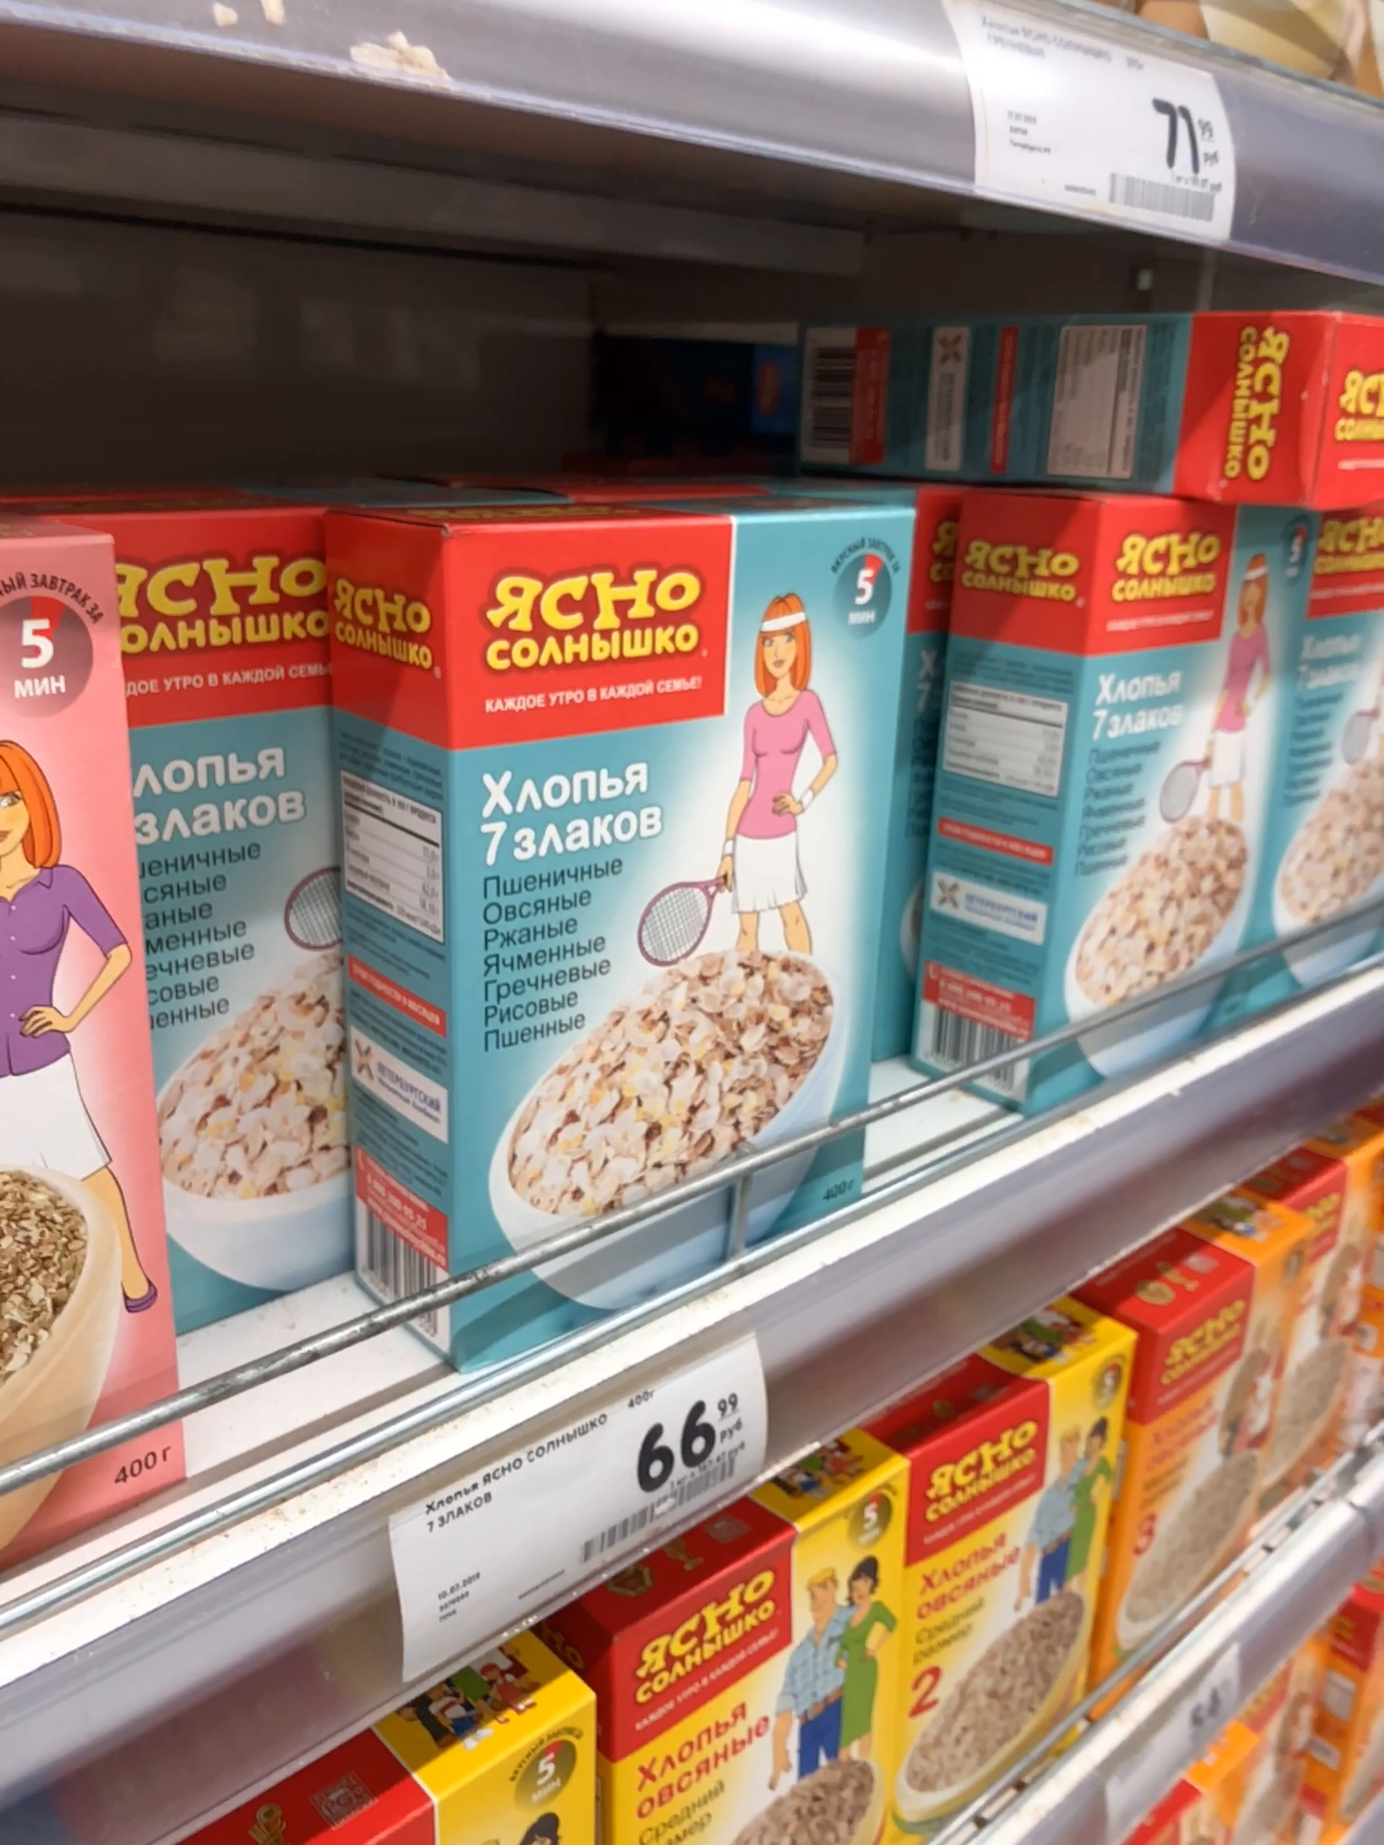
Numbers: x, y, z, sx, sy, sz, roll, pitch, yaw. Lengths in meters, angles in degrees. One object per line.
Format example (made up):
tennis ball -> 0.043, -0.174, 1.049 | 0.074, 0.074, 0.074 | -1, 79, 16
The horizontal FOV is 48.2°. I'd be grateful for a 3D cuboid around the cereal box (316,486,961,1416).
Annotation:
cereal box -> -0.009, -0.003, 0.367 | 0.140, 0.189, 0.050 | -14, 24, -39
